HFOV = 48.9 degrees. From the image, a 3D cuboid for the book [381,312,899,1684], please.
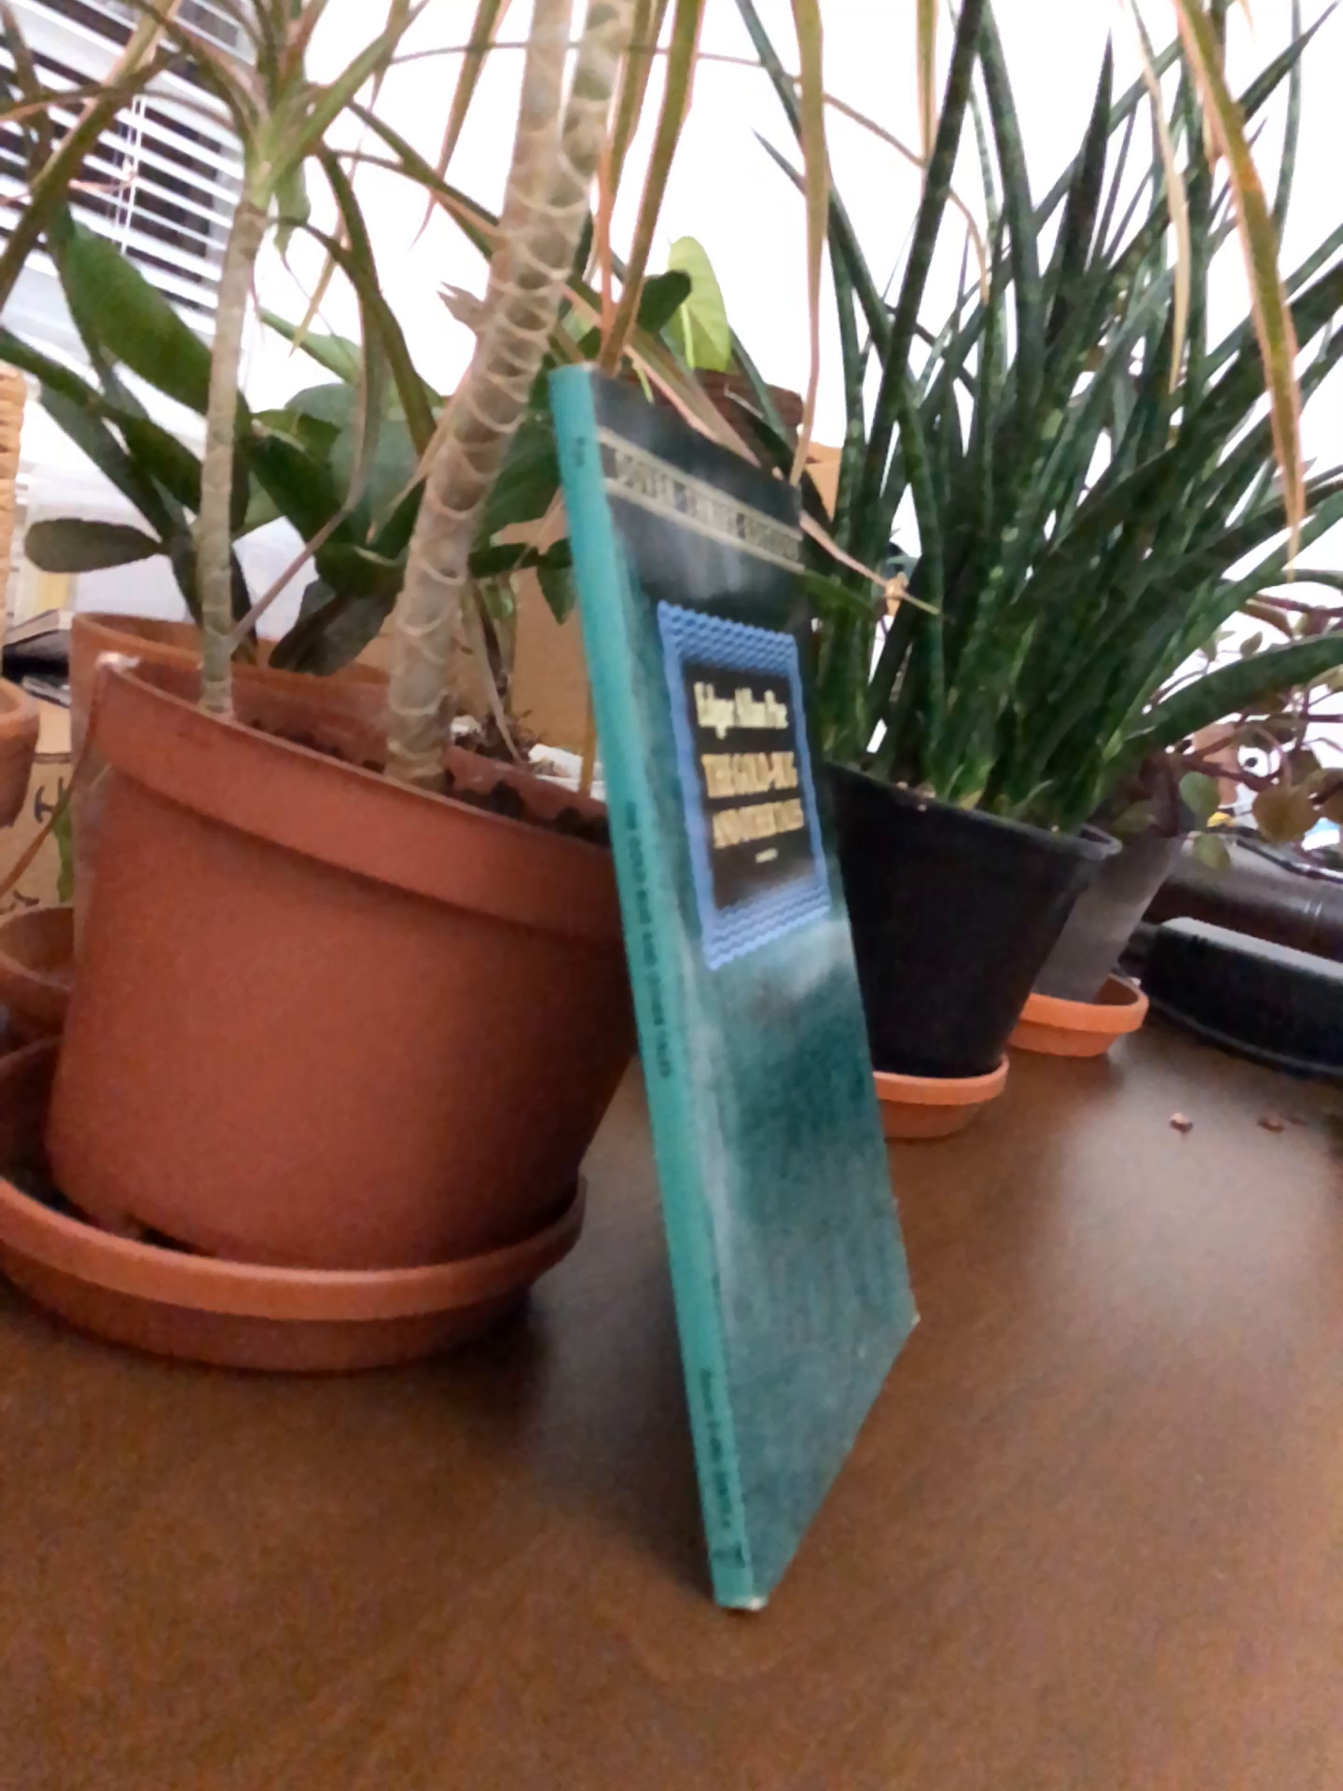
[{"bbox_3d":[0.005,0.011,0.291,0.020,0.210,0.140,-8,3,21],"label":"book"}]
